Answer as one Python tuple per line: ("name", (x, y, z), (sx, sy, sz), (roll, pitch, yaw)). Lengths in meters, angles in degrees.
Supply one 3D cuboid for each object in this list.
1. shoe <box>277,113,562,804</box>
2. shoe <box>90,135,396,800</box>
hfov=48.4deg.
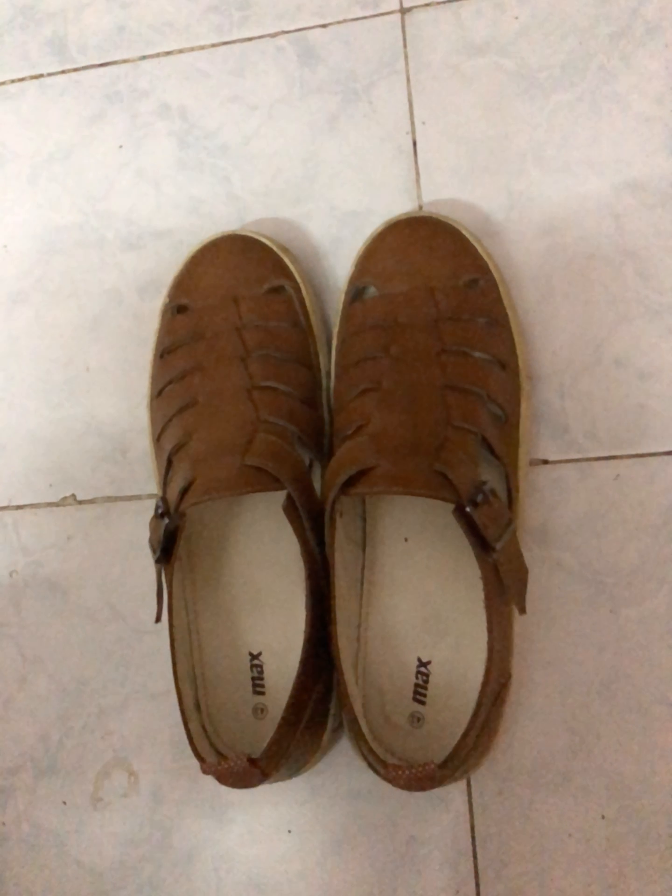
("shoe", (0.037, 0.003, 0.374), (0.110, 0.100, 0.300), (-3, 77, 9))
("shoe", (-0.048, 0.007, 0.394), (0.110, 0.100, 0.300), (-9, 76, 8))
